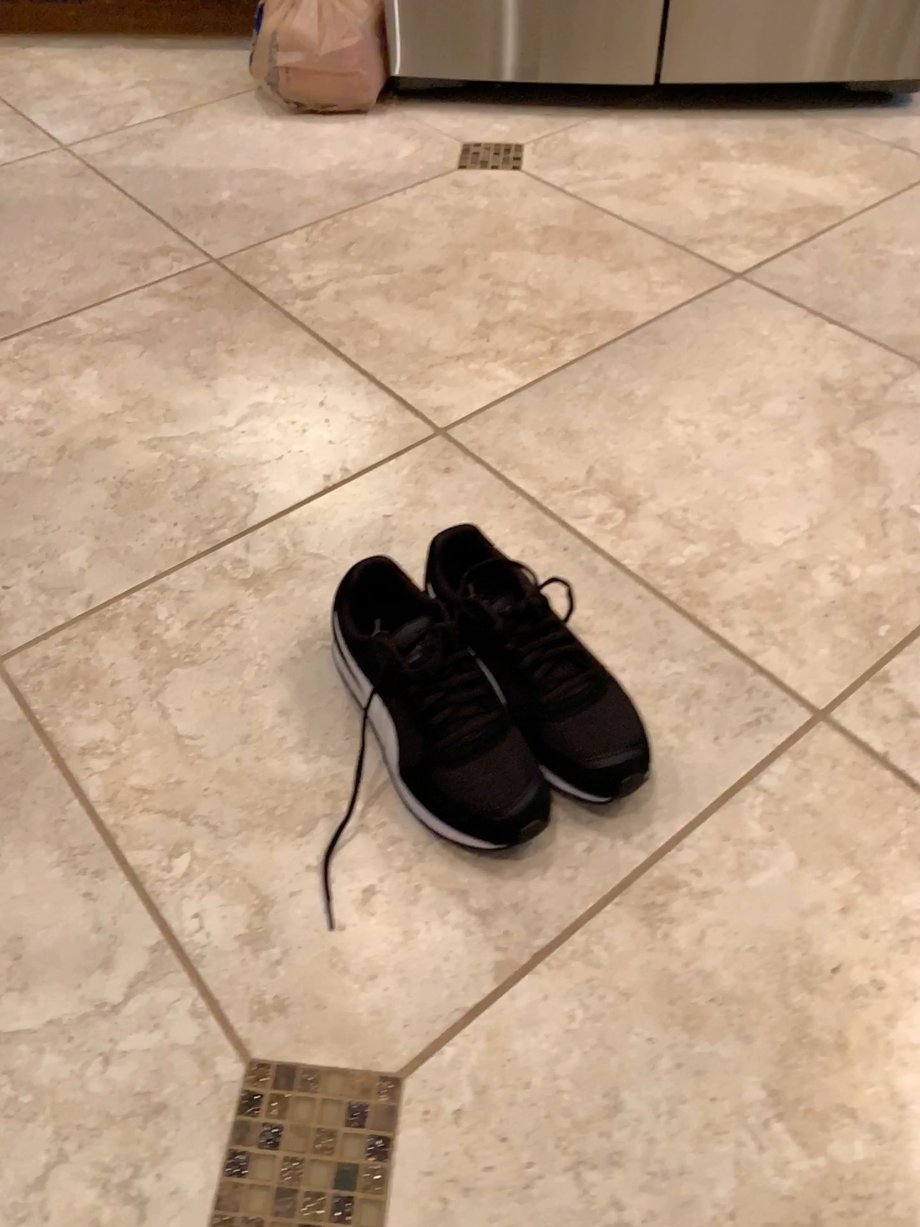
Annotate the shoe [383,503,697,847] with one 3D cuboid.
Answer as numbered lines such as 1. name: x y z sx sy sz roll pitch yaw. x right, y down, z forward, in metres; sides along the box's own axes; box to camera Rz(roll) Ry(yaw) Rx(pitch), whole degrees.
1. shoe: 0.055 0.040 0.780 0.108 0.095 0.270 -28 53 -19

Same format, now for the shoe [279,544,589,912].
1. shoe: -0.028 0.079 0.749 0.108 0.095 0.270 -26 53 -20
